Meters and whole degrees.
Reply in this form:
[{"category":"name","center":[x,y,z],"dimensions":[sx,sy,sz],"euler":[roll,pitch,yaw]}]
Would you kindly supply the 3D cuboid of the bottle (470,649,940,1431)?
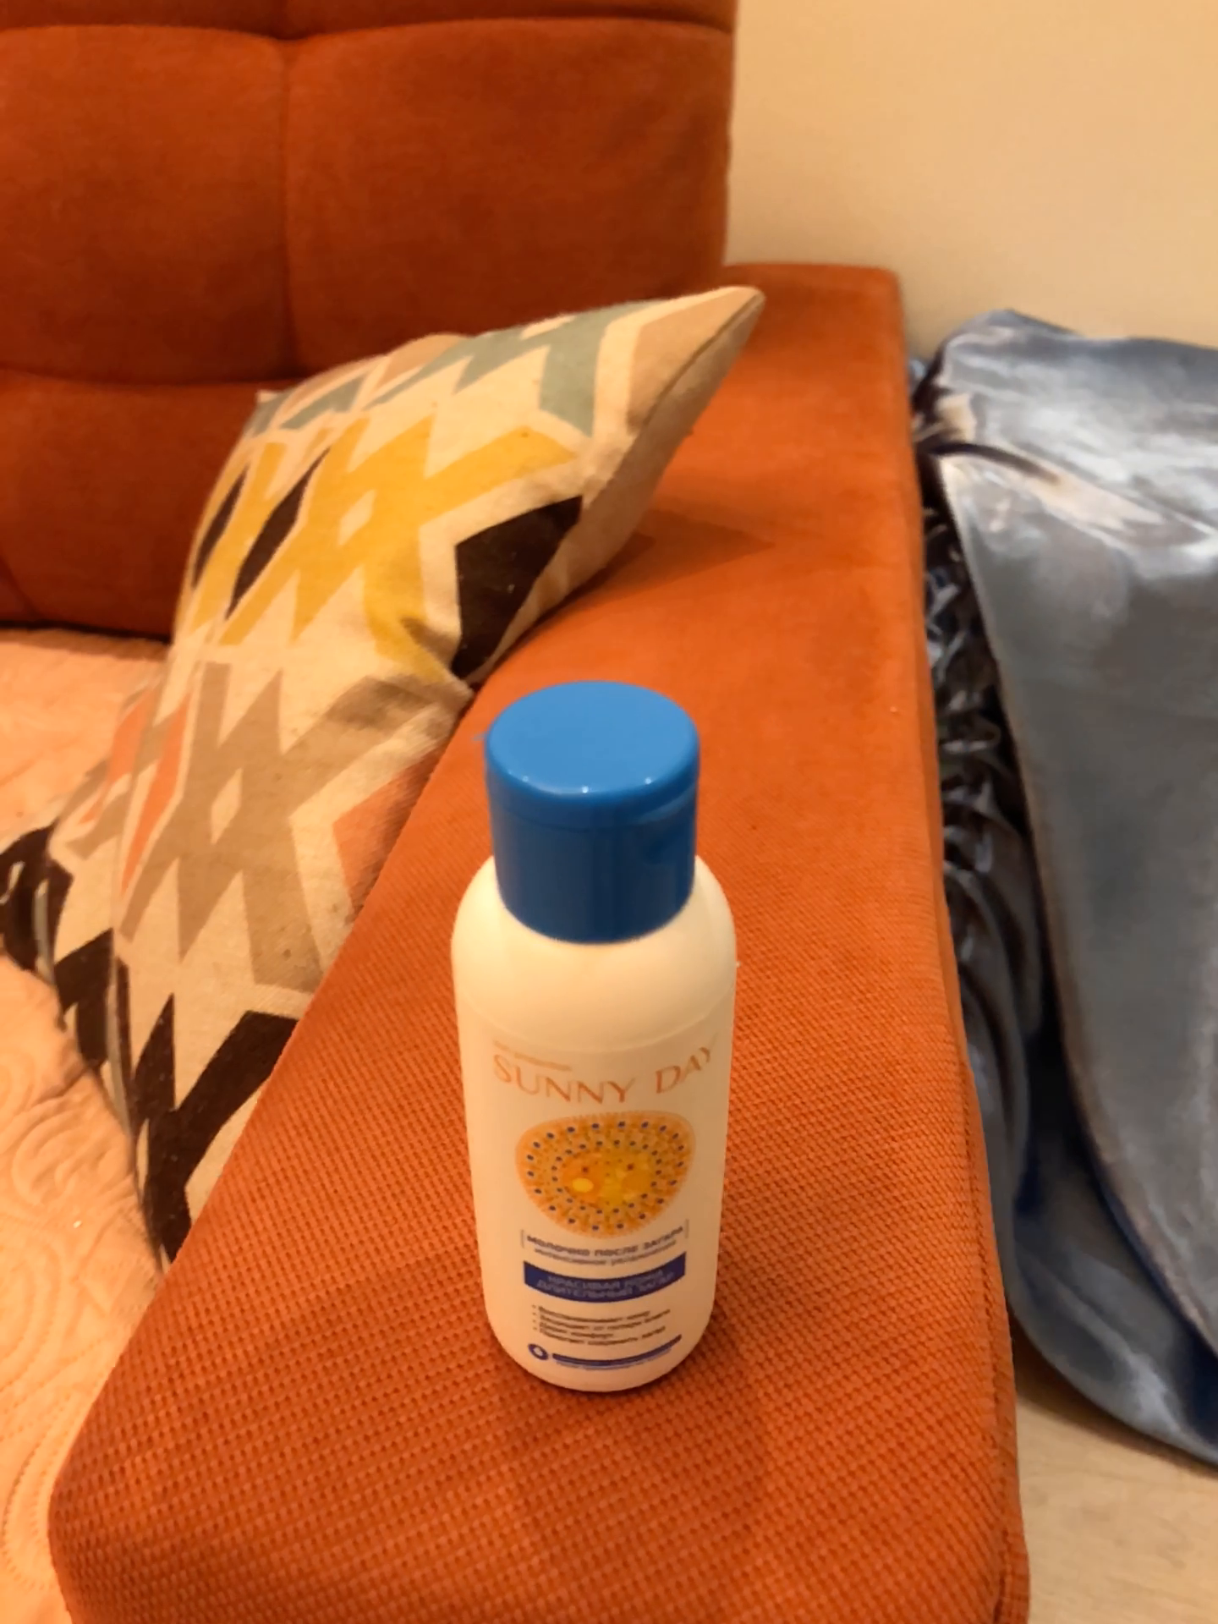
[{"category":"bottle","center":[0.007,0.037,0.198],"dimensions":[0.046,0.111,0.044],"euler":[3,38,-2]}]
